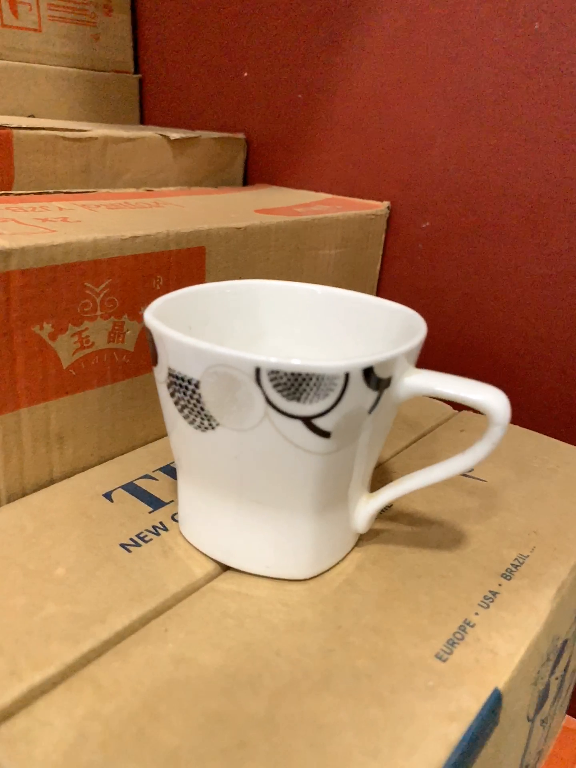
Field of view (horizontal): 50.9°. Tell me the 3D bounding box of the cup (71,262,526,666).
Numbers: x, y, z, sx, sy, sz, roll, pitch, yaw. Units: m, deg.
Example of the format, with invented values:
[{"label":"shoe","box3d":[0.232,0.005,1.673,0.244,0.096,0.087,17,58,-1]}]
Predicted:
[{"label":"cup","box3d":[0.005,0.010,0.151,0.090,0.060,0.060,12,24,19]}]
